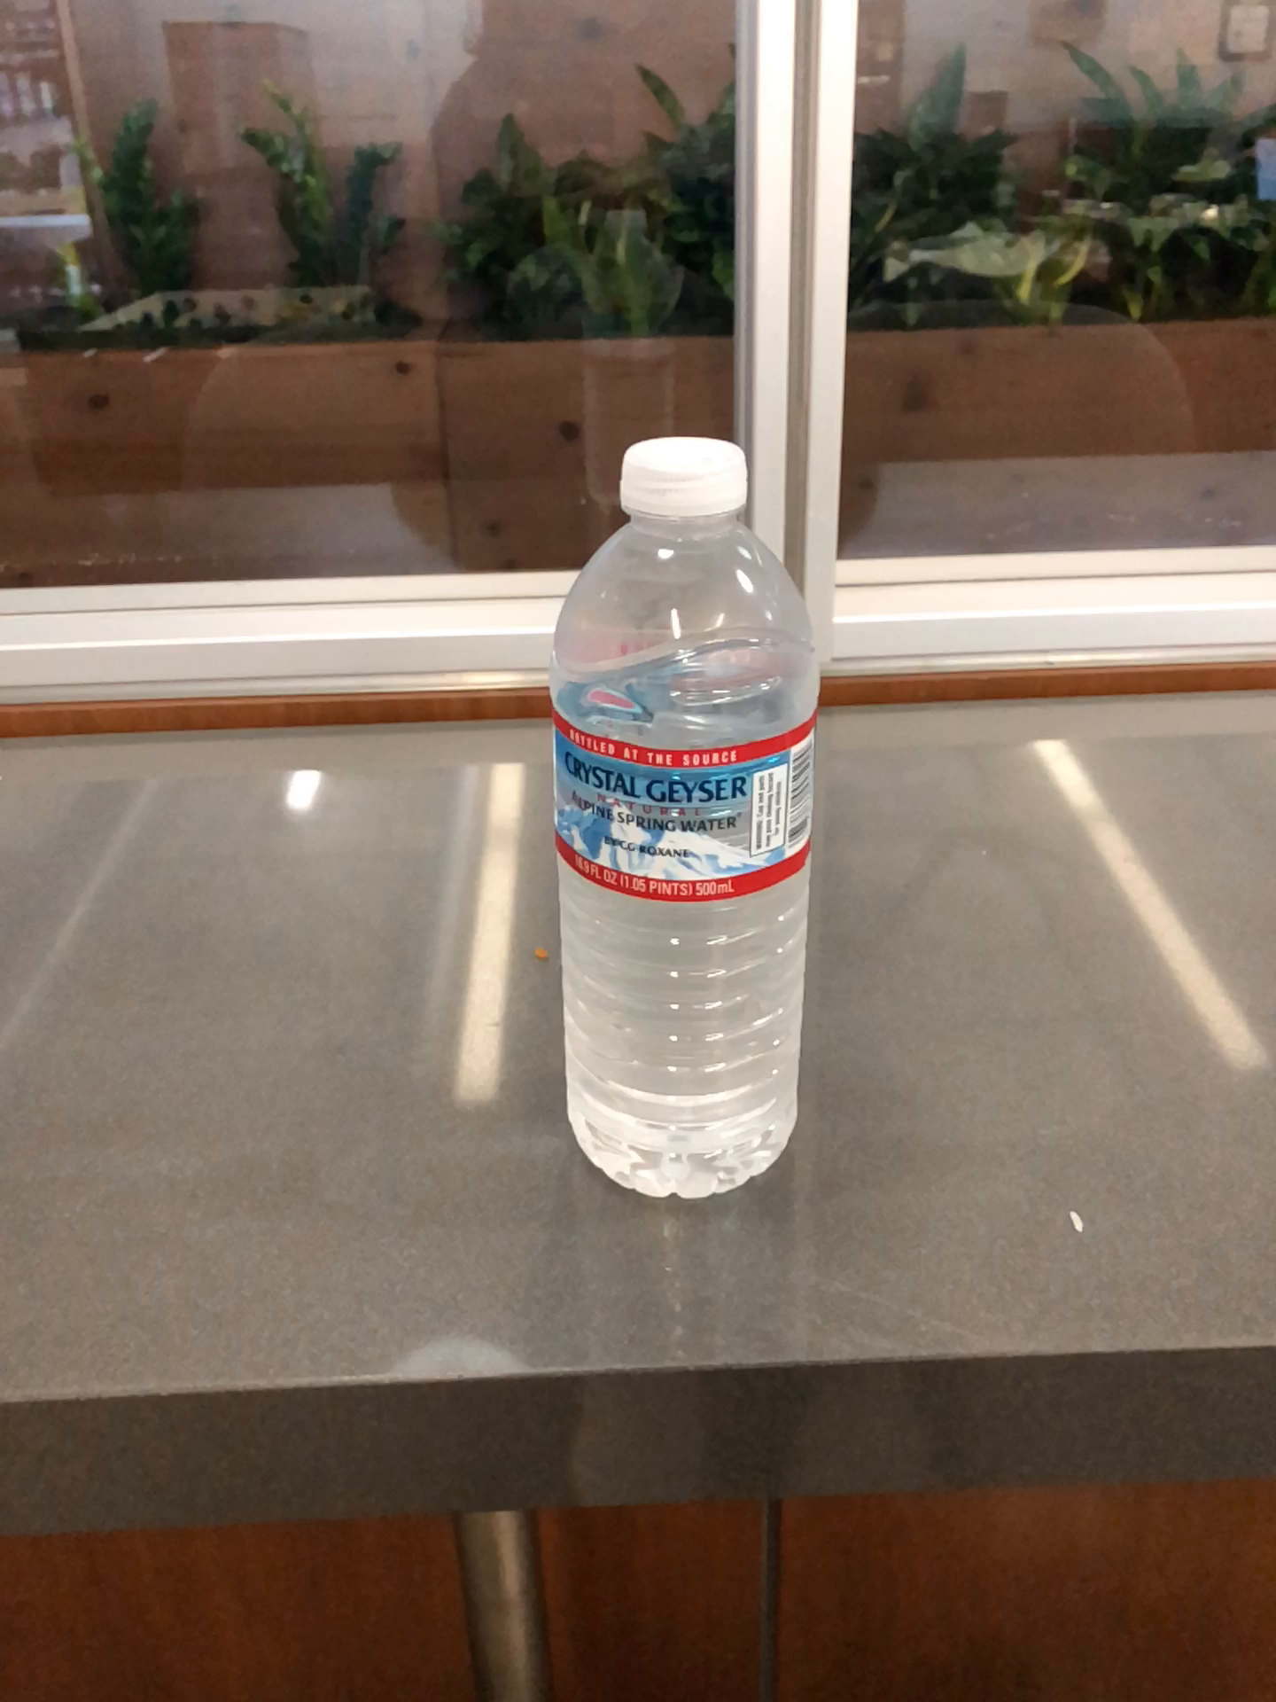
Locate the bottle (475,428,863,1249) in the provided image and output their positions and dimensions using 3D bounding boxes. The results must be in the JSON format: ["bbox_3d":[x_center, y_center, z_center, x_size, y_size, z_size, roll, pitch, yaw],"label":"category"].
[{"bbox_3d":[0.012,-0.002,0.359,0.070,0.189,0.070,-1,28,1],"label":"bottle"}]
